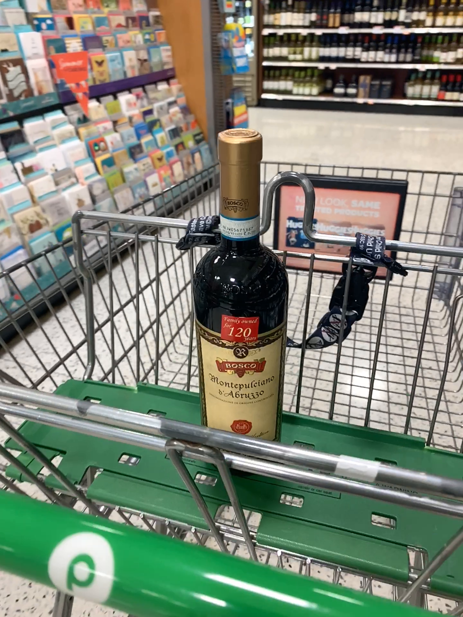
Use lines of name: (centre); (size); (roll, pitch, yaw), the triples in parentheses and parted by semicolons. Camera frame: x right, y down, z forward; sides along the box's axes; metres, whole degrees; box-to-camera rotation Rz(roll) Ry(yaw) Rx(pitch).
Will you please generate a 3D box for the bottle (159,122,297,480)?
bottle: (0.004, 0.007, 0.380); (0.080, 0.277, 0.081); (-1, 31, 1)
